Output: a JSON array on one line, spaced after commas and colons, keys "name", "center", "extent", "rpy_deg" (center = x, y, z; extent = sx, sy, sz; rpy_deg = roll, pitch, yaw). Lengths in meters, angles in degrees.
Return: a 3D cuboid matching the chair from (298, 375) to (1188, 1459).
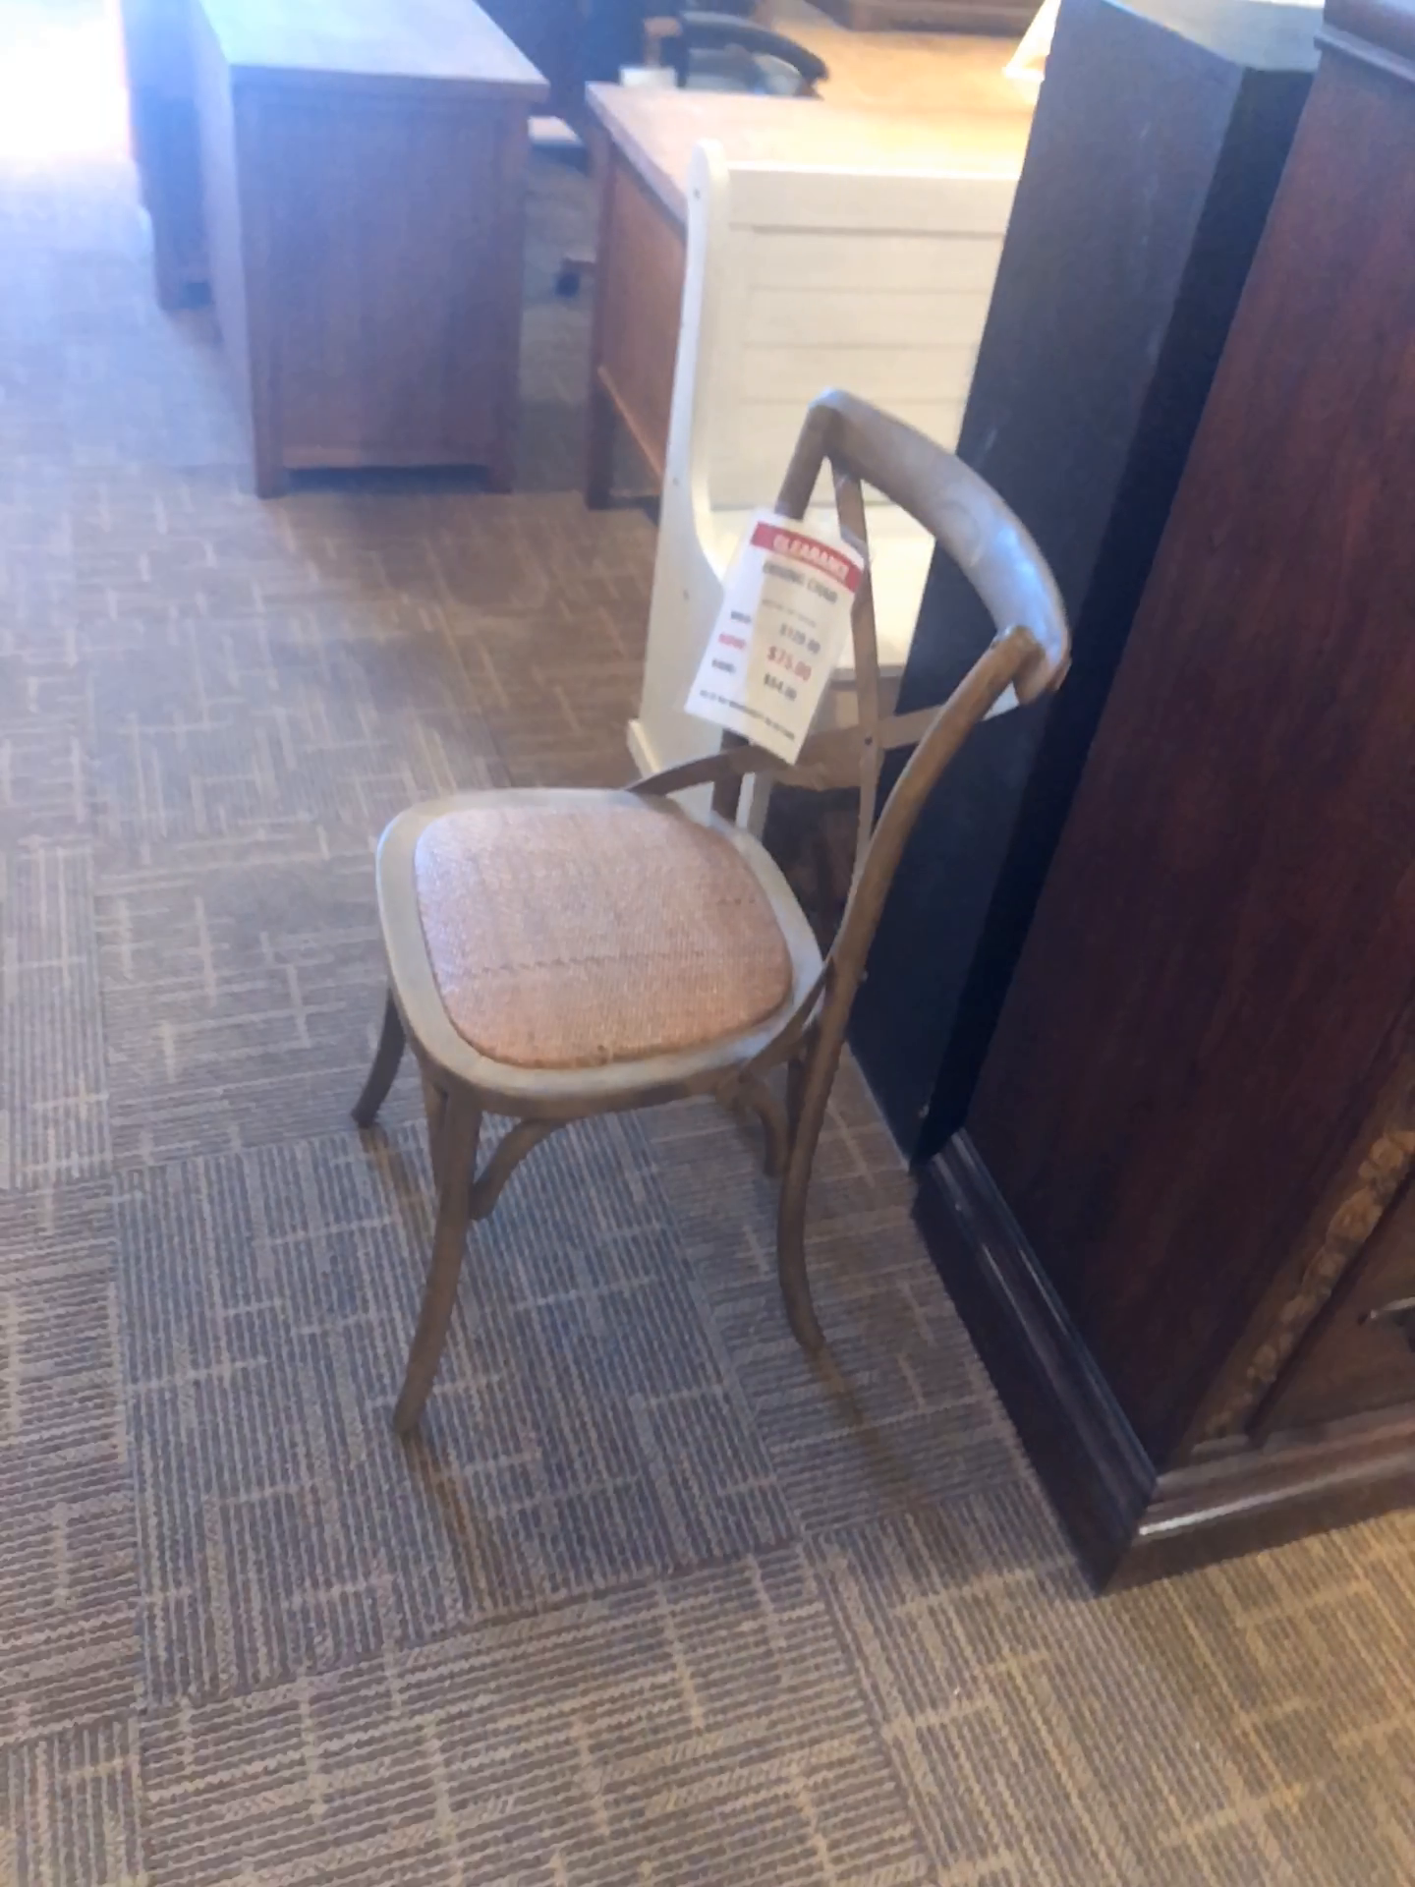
[{"name": "chair", "center": [-0.051, -0.019, 1.444], "extent": [0.566, 0.813, 0.517], "rpy_deg": [-5, 42, -15]}]
